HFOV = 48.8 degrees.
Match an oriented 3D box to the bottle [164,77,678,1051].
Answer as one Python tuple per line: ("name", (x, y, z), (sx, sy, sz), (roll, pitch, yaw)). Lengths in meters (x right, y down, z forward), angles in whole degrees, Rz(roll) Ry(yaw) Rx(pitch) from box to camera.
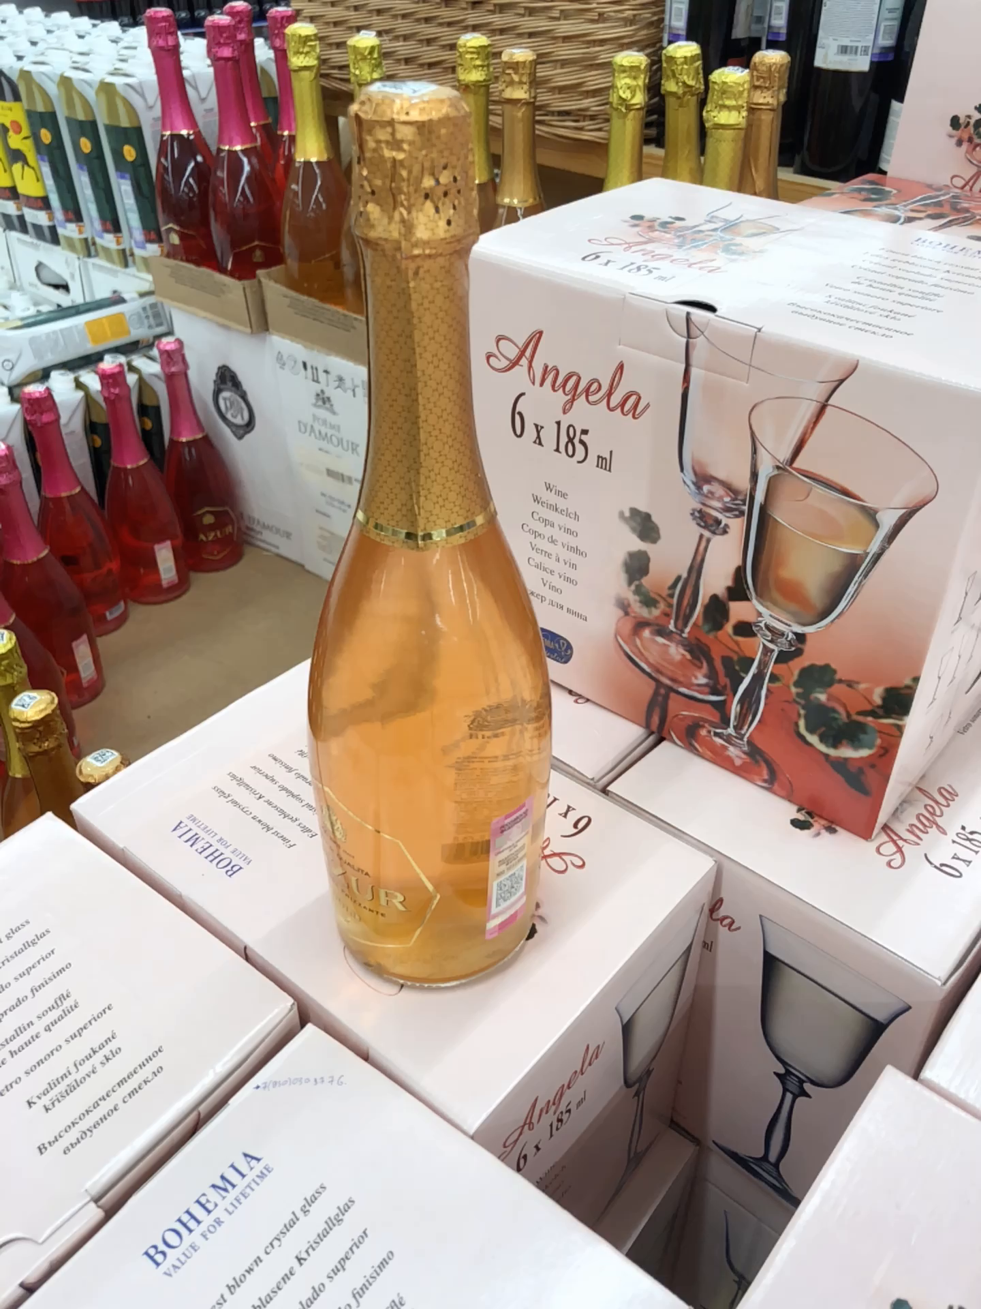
("bottle", (-0.020, -0.015, 0.362), (0.090, 0.298, 0.100), (-24, 43, -29))
